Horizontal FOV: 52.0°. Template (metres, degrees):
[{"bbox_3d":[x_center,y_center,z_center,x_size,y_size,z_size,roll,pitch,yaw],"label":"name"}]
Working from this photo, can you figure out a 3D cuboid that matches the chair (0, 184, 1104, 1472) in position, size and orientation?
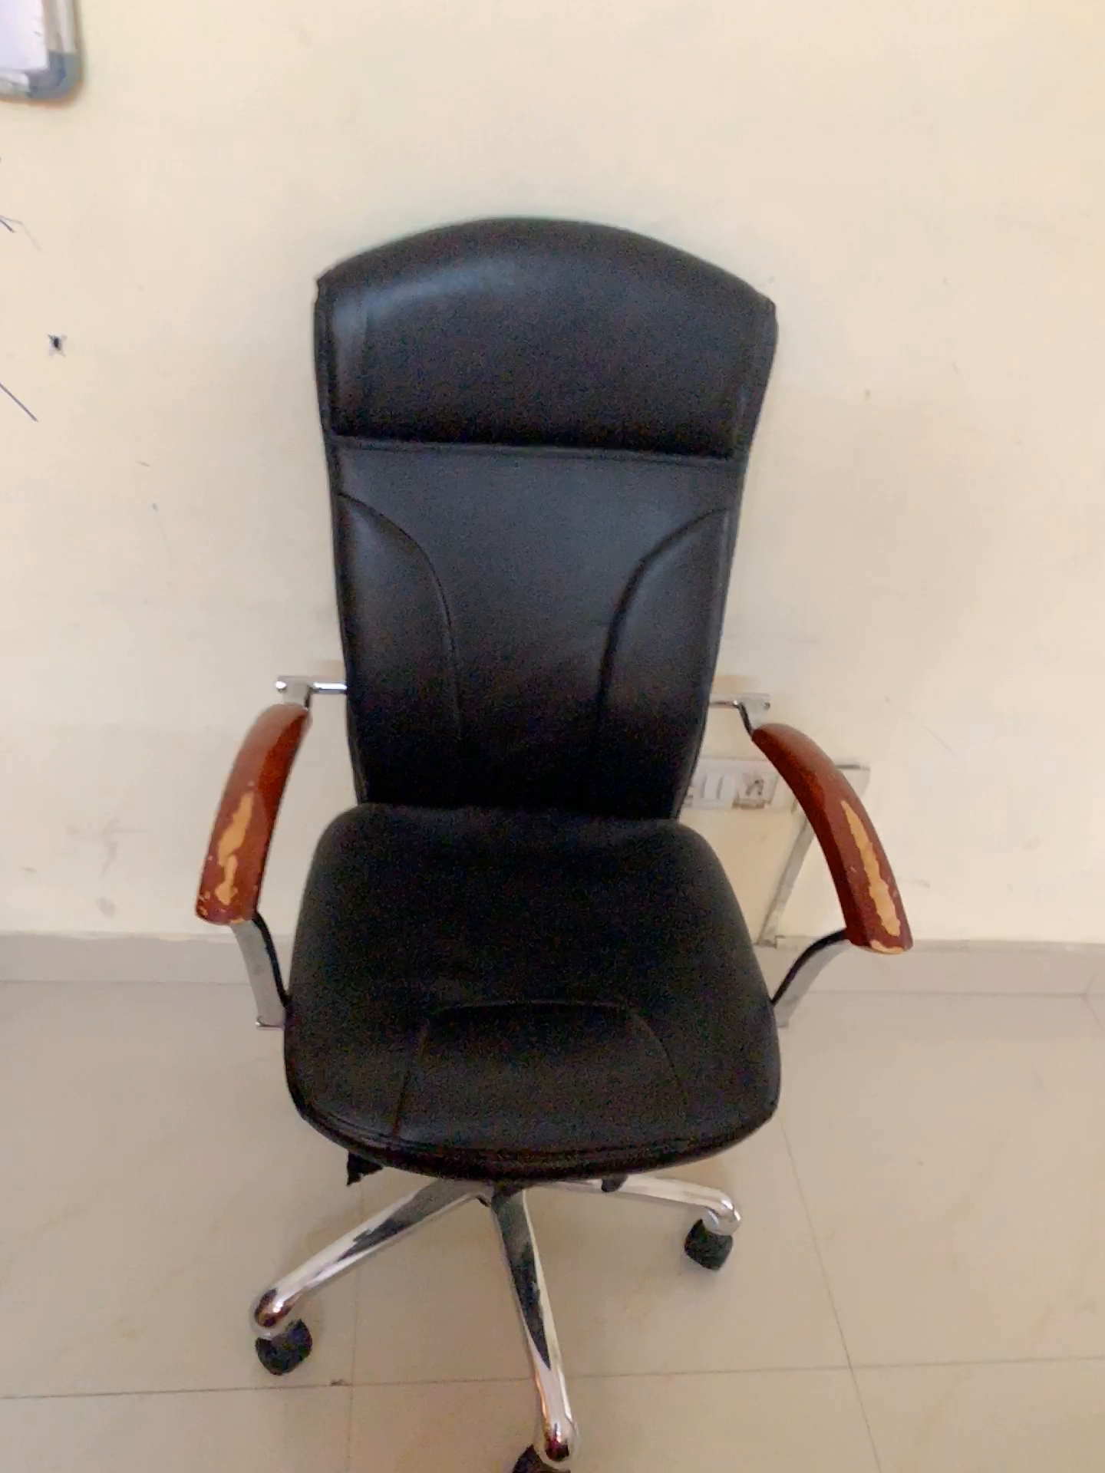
[{"bbox_3d":[-0.012,0.139,1.157,0.700,1.081,0.757,3,35,-7],"label":"chair"}]
